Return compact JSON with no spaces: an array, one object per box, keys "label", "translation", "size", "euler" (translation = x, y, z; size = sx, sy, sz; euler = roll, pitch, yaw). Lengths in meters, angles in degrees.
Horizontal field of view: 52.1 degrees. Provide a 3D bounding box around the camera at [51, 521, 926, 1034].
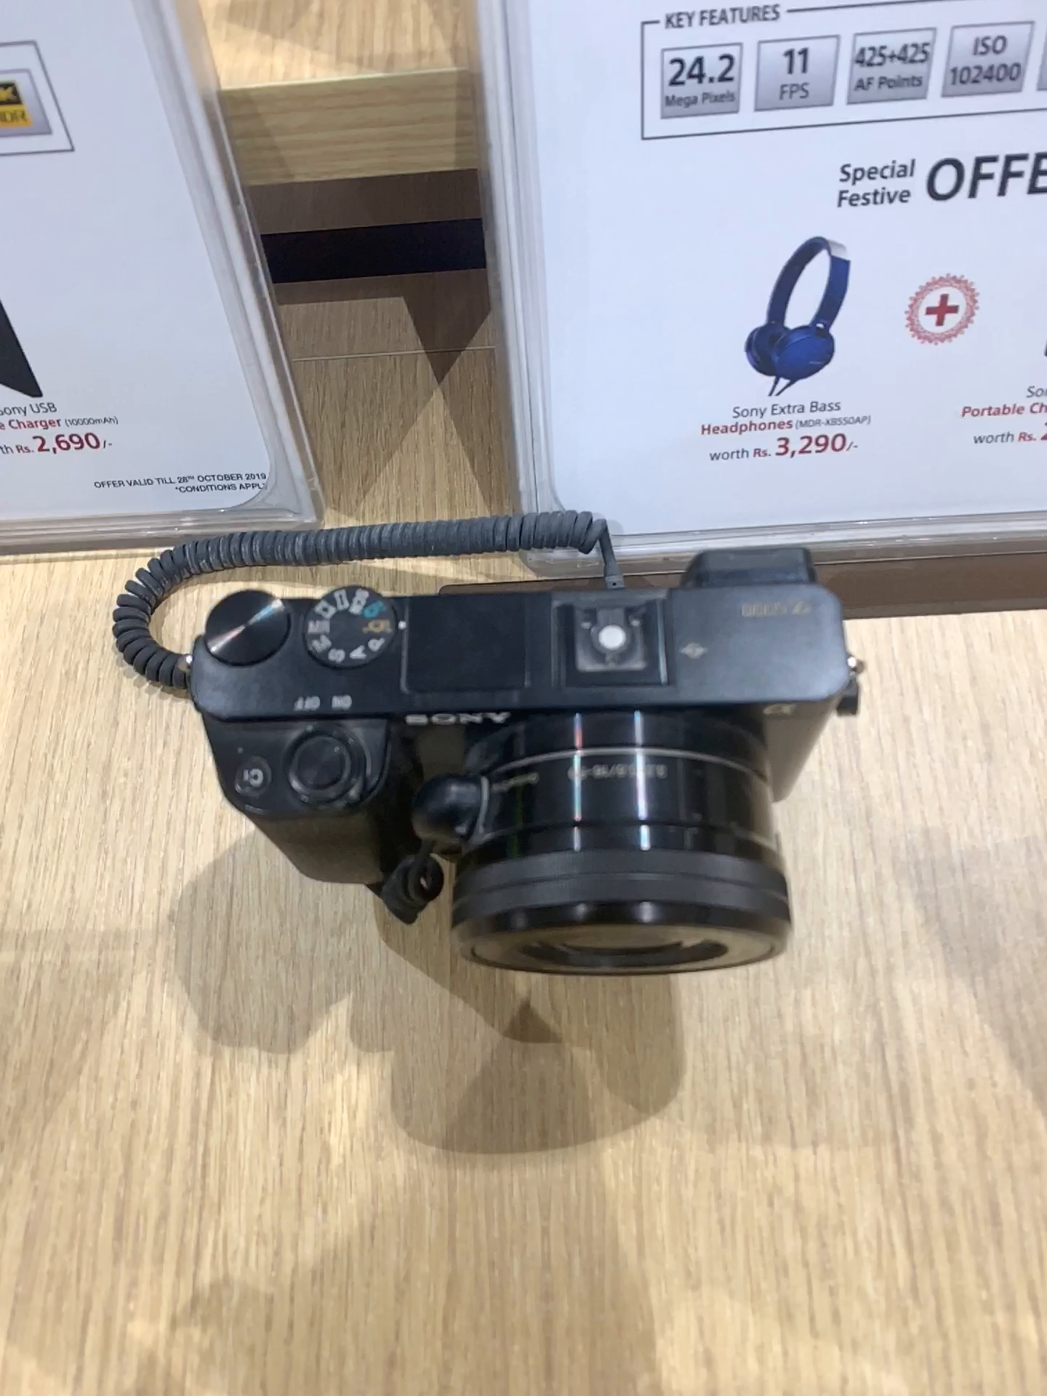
[{"label":"camera","translation":[-0.004,0.019,0.193],"size":[0.120,0.070,0.070],"euler":[-1,65,4]}]
